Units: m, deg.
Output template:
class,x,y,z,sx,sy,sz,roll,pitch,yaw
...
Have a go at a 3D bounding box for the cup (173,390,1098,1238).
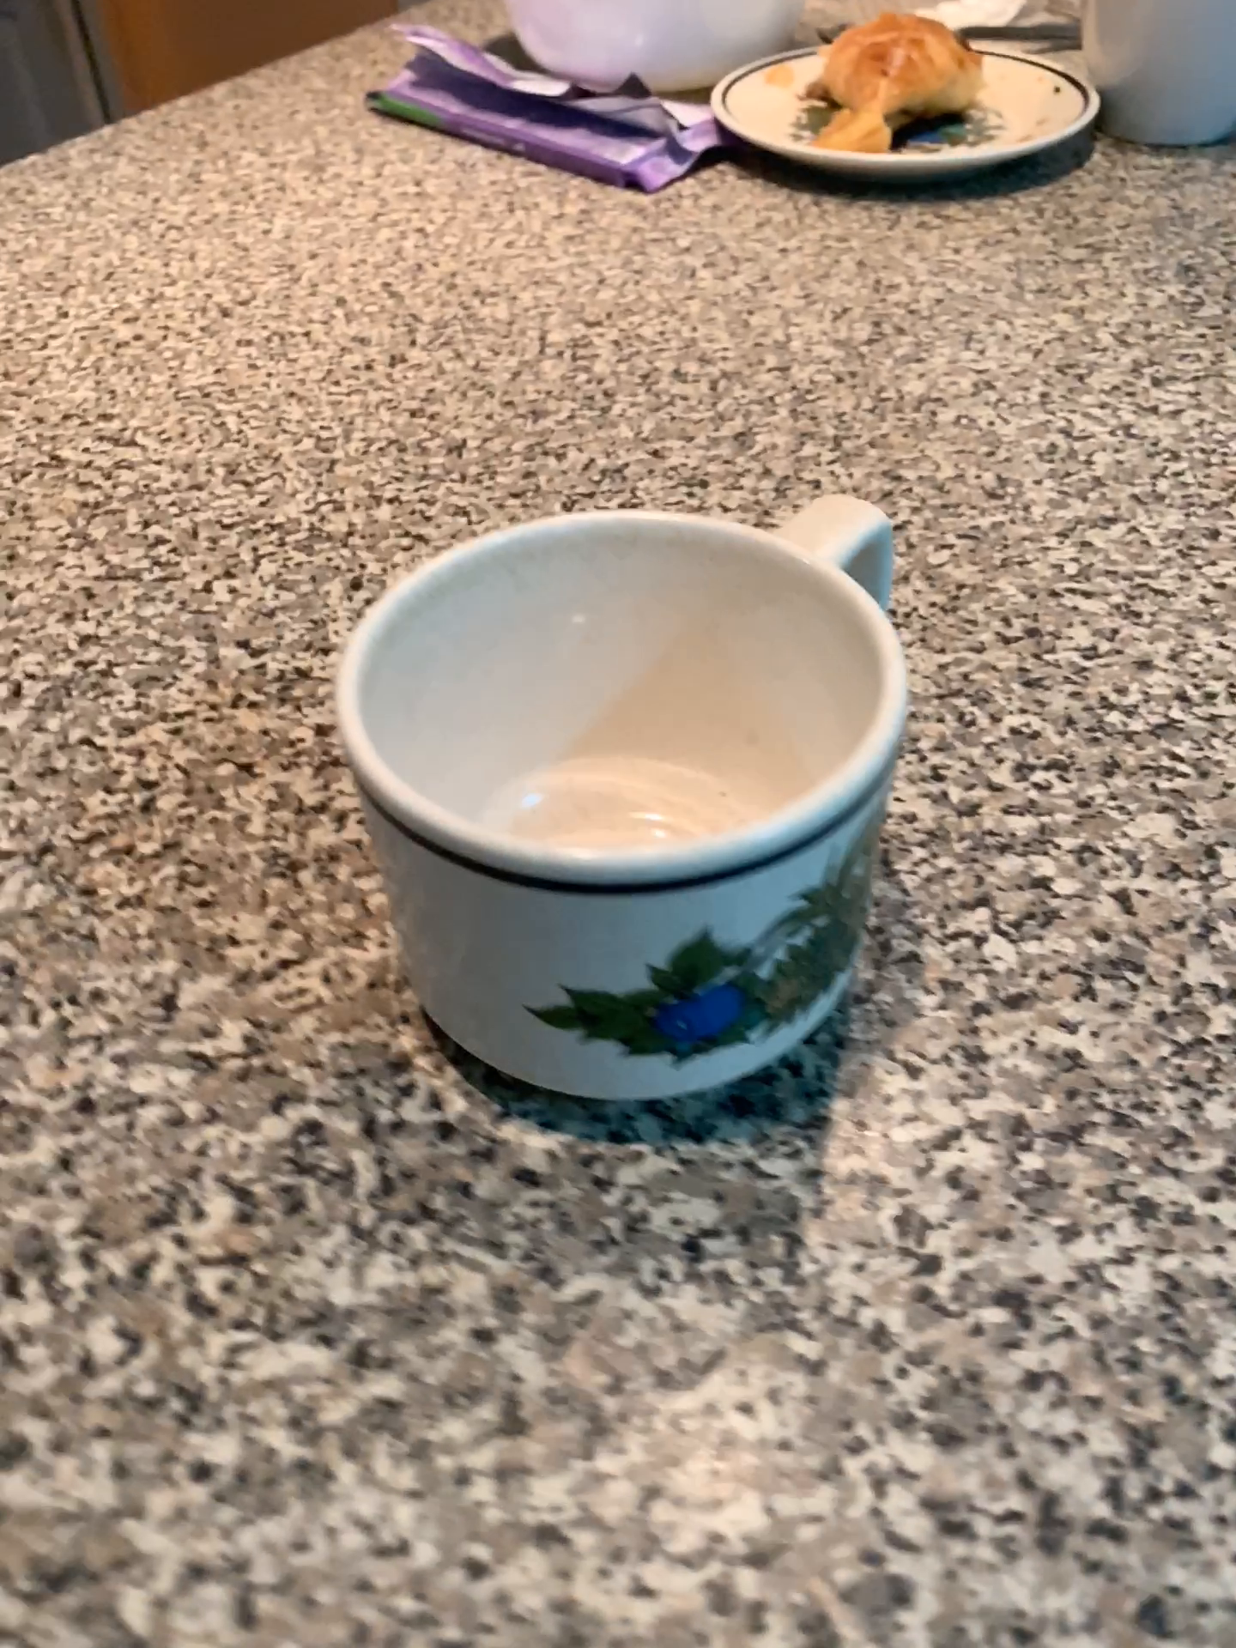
class,x,y,z,sx,sy,sz,roll,pitch,yaw
cup,0.008,-0.013,0.212,0.088,0.054,0.117,27,52,26
